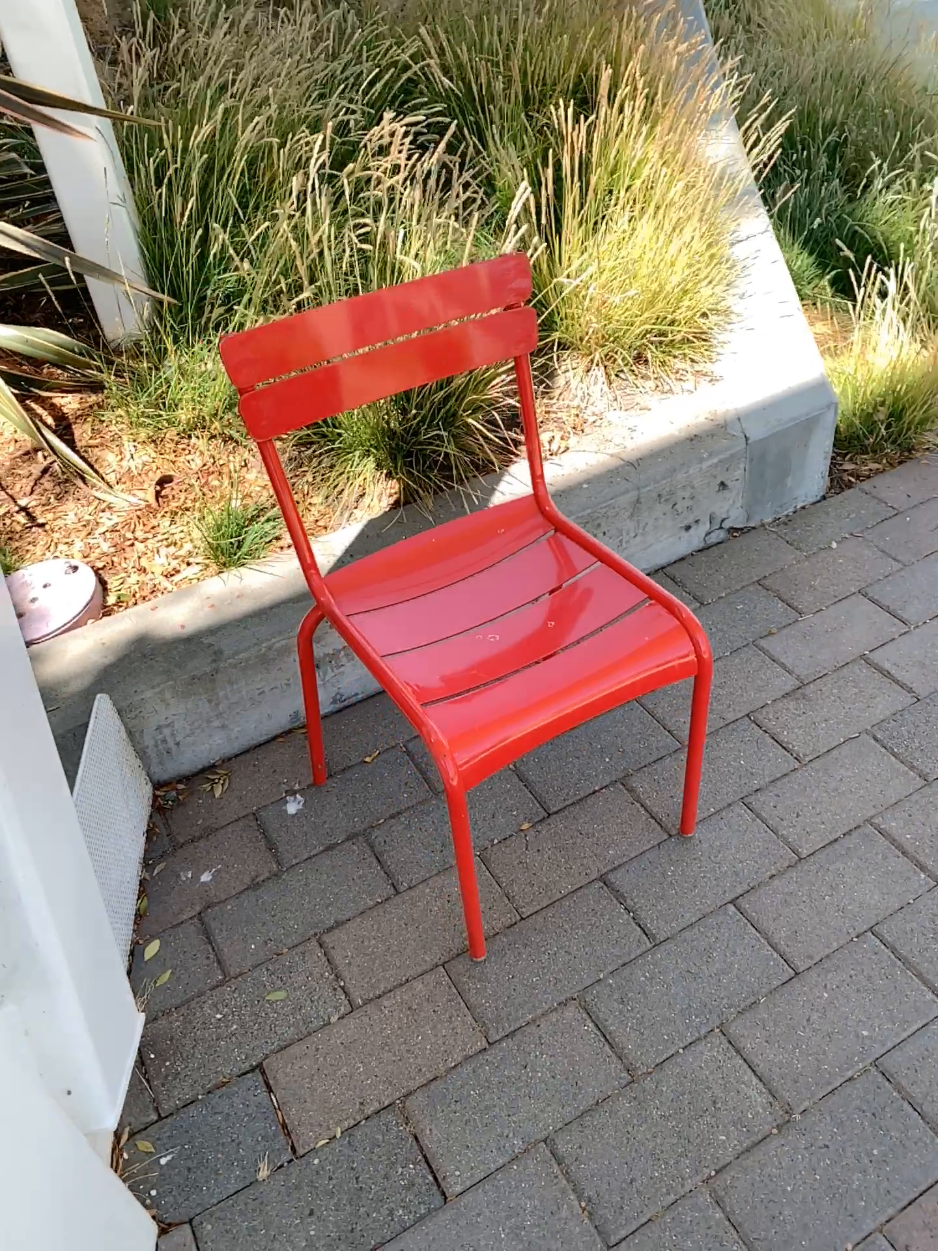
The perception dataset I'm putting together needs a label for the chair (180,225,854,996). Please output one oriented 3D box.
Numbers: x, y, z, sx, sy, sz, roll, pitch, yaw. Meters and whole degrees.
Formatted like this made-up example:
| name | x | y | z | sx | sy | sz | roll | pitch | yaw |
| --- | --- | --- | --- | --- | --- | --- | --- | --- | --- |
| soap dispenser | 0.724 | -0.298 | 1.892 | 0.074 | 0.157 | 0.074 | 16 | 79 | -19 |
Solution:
| name | x | y | z | sx | sy | sz | roll | pitch | yaw |
| --- | --- | --- | --- | --- | --- | --- | --- | --- | --- |
| chair | 0.050 | -0.047 | 1.433 | 0.580 | 0.785 | 0.633 | -24 | 43 | -20 |
